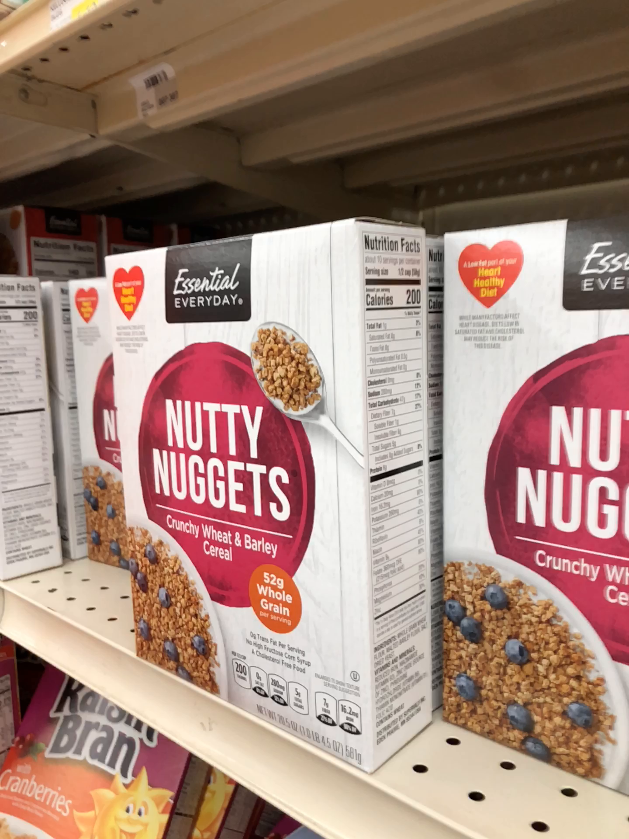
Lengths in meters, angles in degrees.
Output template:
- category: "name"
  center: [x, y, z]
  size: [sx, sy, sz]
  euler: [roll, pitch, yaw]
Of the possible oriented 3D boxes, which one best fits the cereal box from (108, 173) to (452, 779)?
- category: "cereal box"
  center: [-0.023, 0.019, 0.336]
  size: [0.170, 0.230, 0.050]
  euler: [4, 9, 42]
